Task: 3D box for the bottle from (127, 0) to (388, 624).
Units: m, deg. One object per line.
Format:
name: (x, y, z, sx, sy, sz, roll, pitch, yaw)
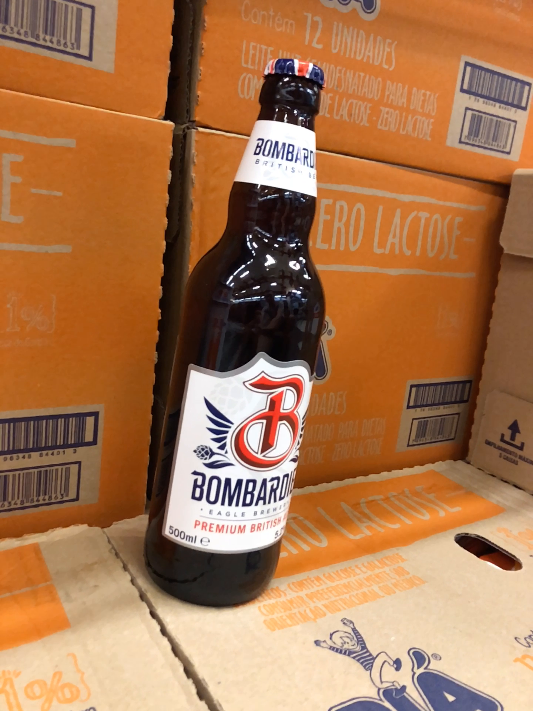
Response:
bottle: (-0.010, -0.016, 0.280, 0.070, 0.259, 0.060, 1, 12, -32)
